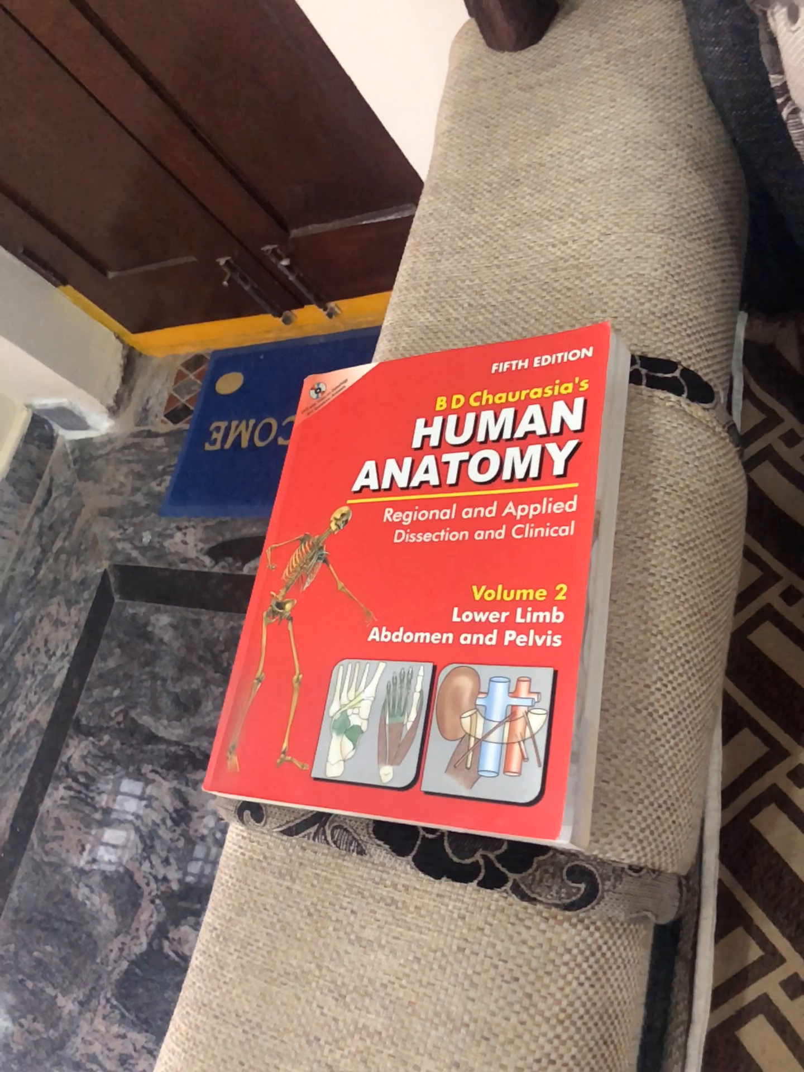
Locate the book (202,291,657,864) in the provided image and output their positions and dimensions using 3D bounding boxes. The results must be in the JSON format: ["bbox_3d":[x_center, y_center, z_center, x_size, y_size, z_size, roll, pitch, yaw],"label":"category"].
[{"bbox_3d":[0.018,0.014,0.499,0.221,0.040,0.290,-3,65,33],"label":"book"}]
